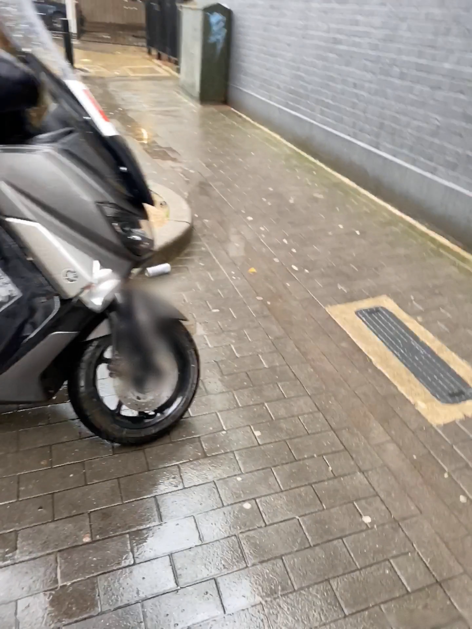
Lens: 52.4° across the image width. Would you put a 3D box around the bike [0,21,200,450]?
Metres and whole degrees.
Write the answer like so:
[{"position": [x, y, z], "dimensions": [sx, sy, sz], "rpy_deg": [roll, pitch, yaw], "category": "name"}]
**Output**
[{"position": [-0.999, -0.236, 1.612], "dimensions": [1.731, 1.121, 0.764], "rpy_deg": [1, 32, -6], "category": "bike"}]
